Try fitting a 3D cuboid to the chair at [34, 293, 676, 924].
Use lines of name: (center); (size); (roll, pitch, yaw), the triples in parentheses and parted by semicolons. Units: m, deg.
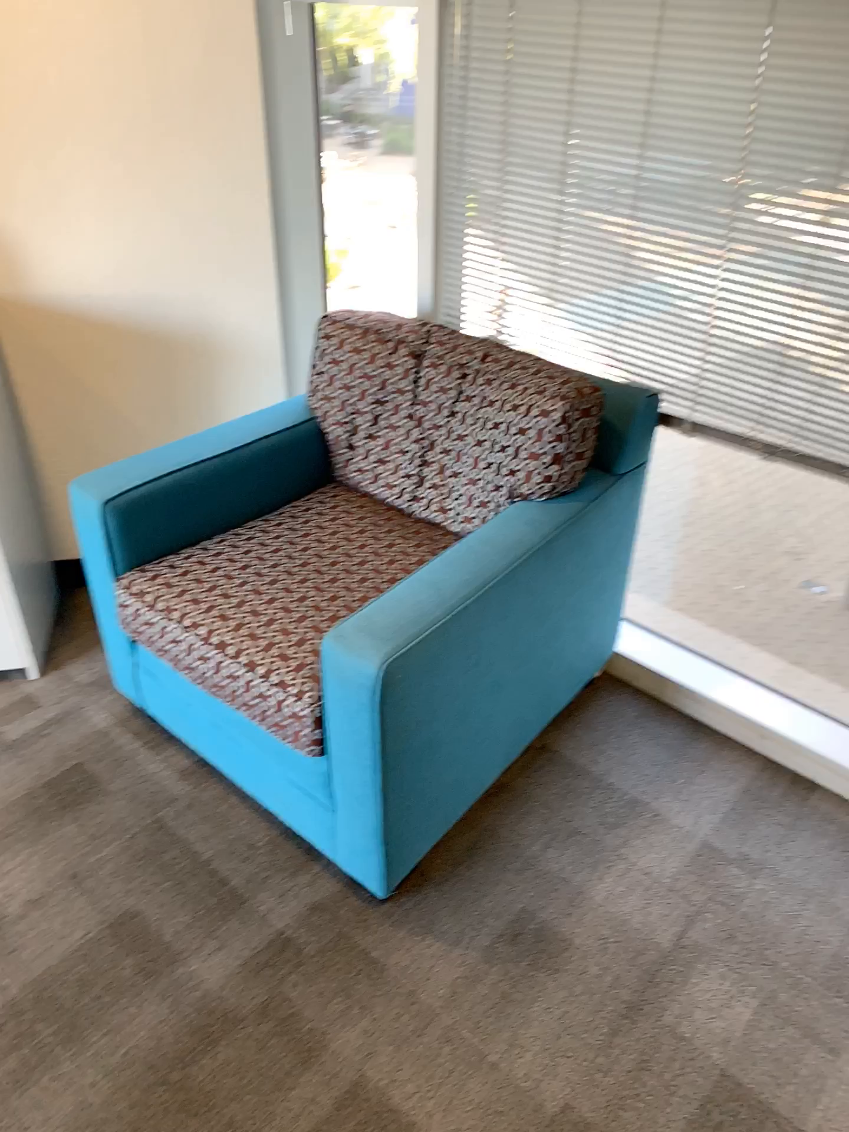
chair: (-0.132, -0.017, 1.972); (0.914, 0.825, 0.922); (27, 42, 34)
